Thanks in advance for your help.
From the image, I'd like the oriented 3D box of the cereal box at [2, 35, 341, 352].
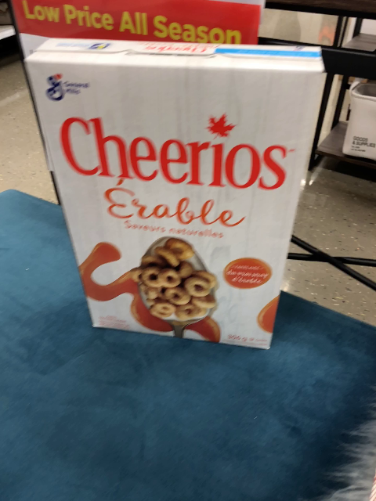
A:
[{"bbox_3d":[-0.009,-0.030,0.364,0.210,0.269,0.060,6,41,7],"label":"cereal box"}]
